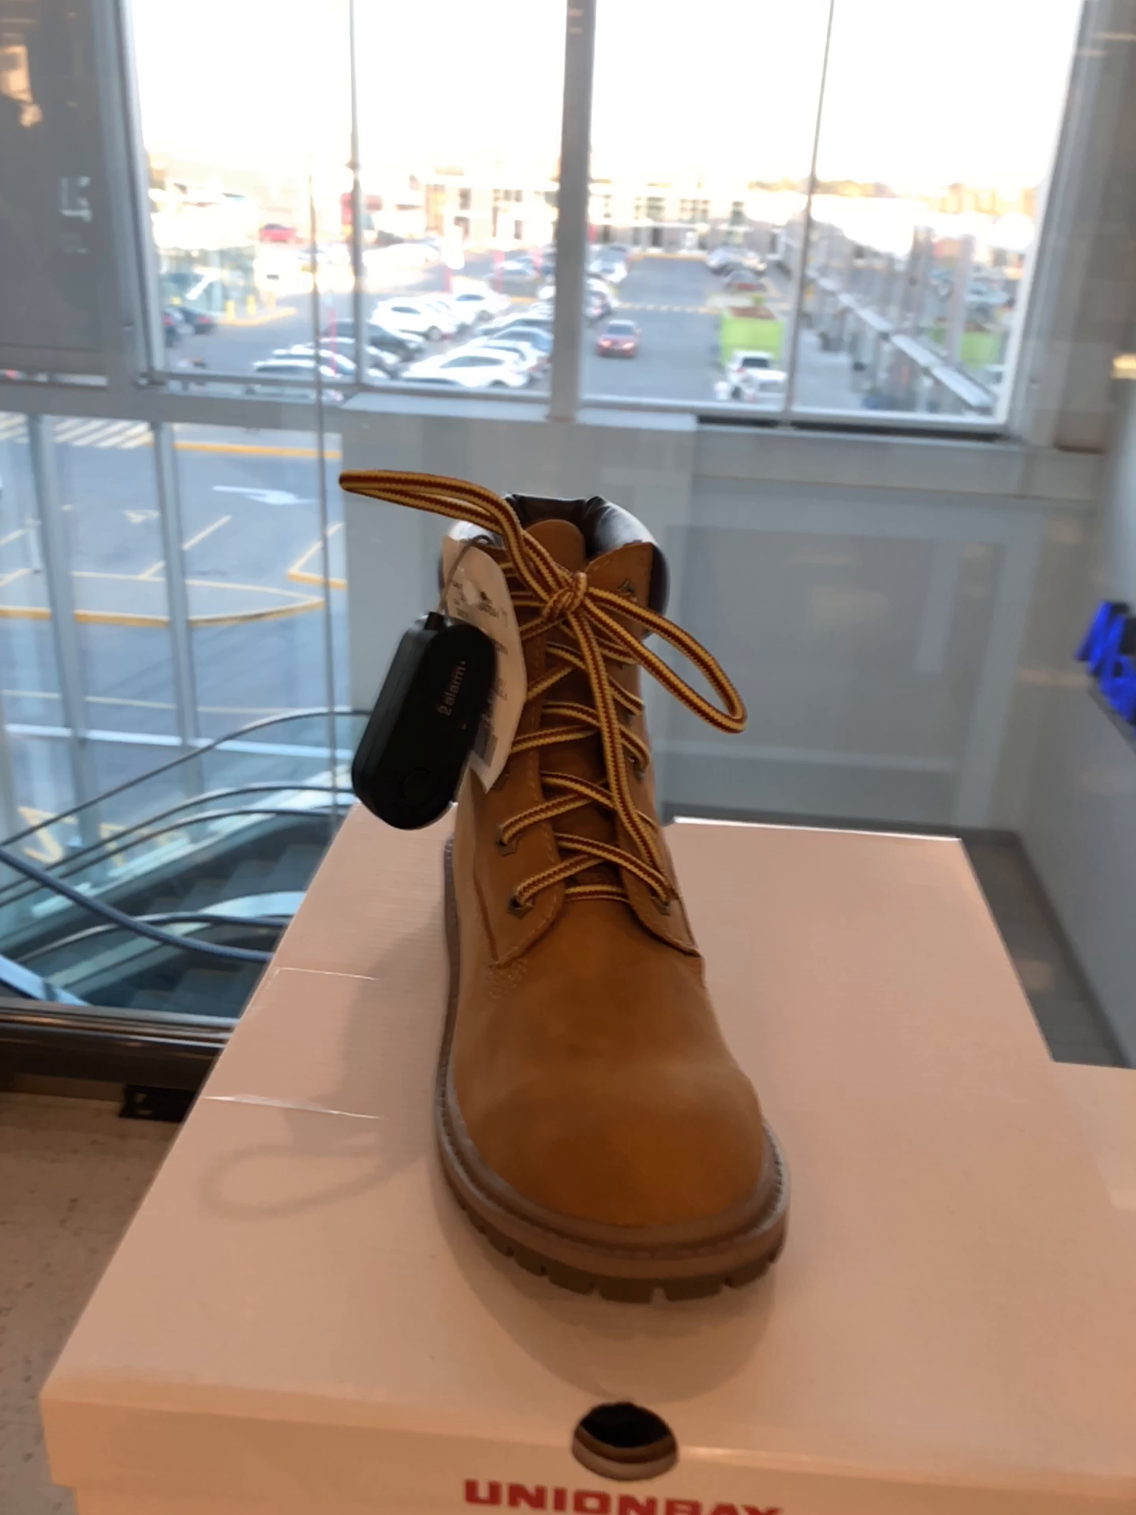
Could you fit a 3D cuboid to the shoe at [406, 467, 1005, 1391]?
[{"bbox_3d":[0.011,0.023,0.383,0.107,0.169,0.242,-1,25,-10],"label":"shoe"}]
